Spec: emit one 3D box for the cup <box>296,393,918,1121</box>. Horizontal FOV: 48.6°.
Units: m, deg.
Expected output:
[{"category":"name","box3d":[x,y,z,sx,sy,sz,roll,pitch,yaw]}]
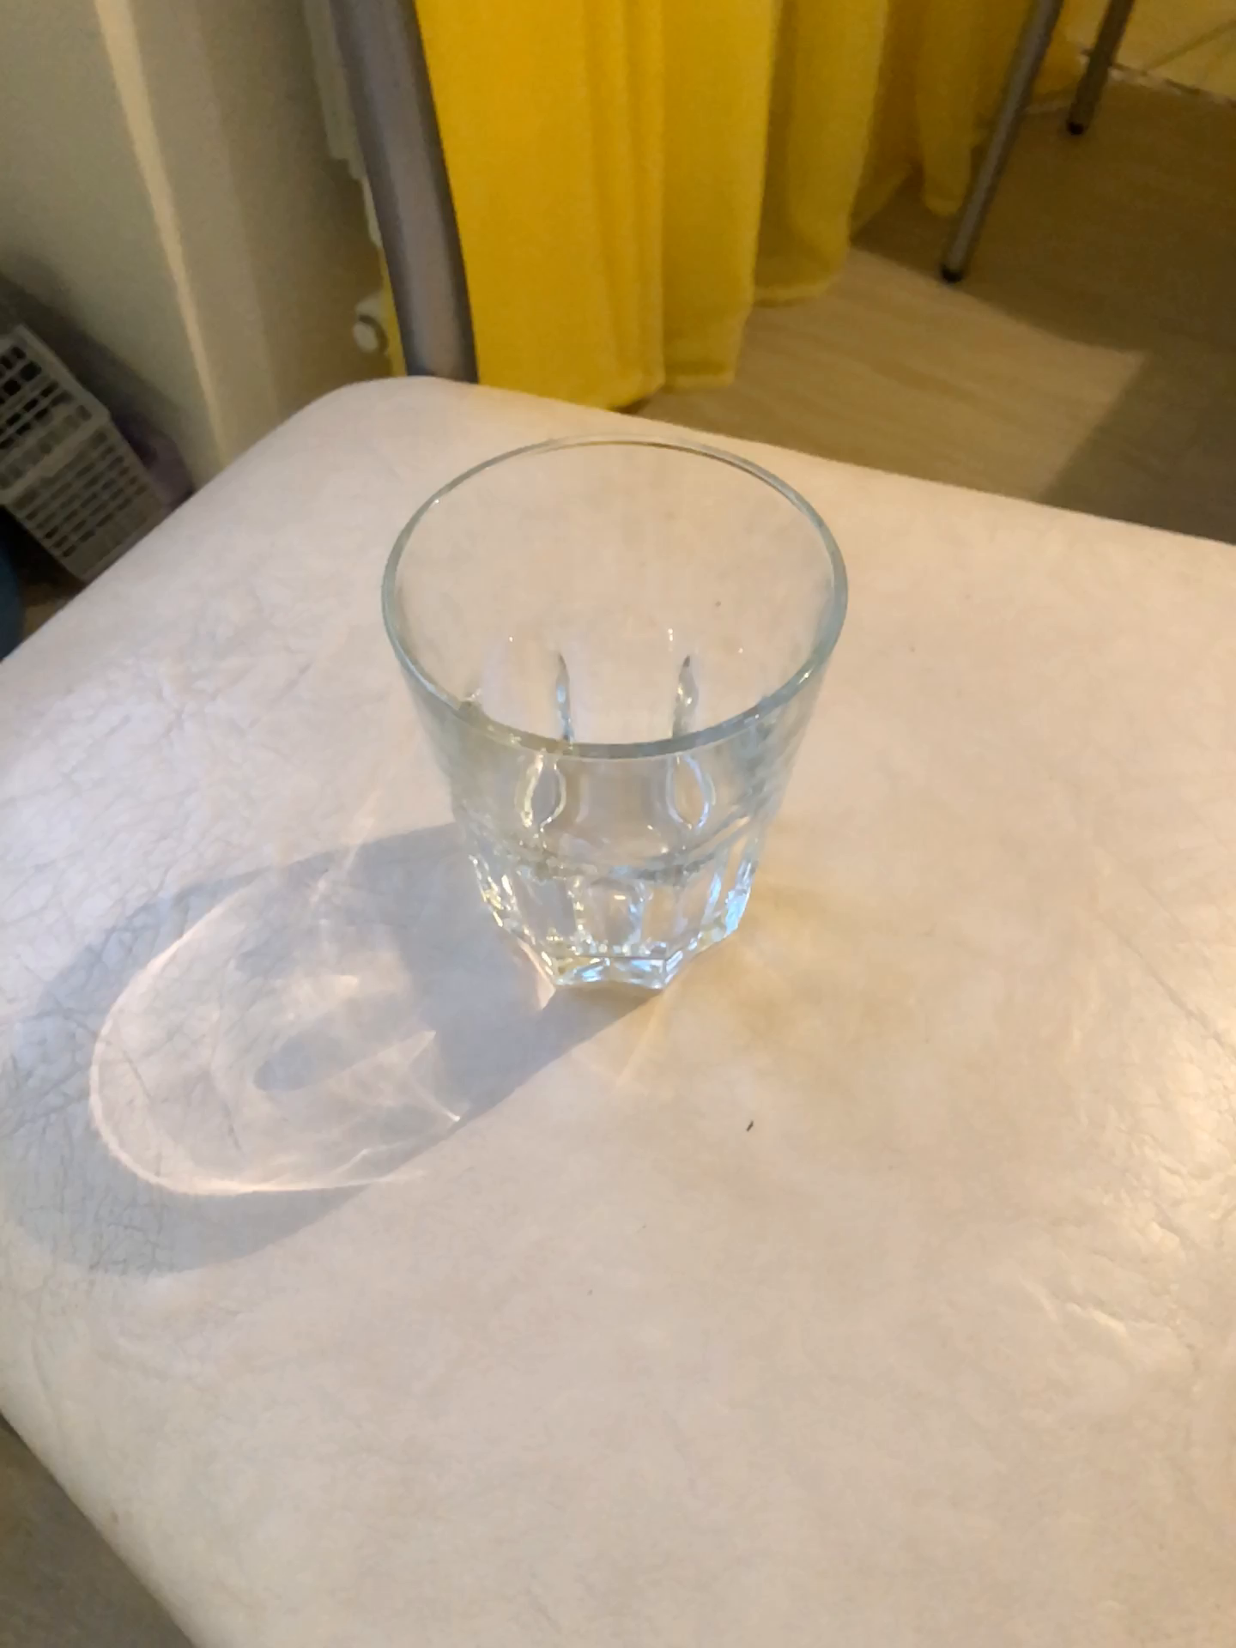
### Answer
[{"category":"cup","box3d":[0.000,-0.012,0.277,0.080,0.099,0.080,0,52,-1]}]
